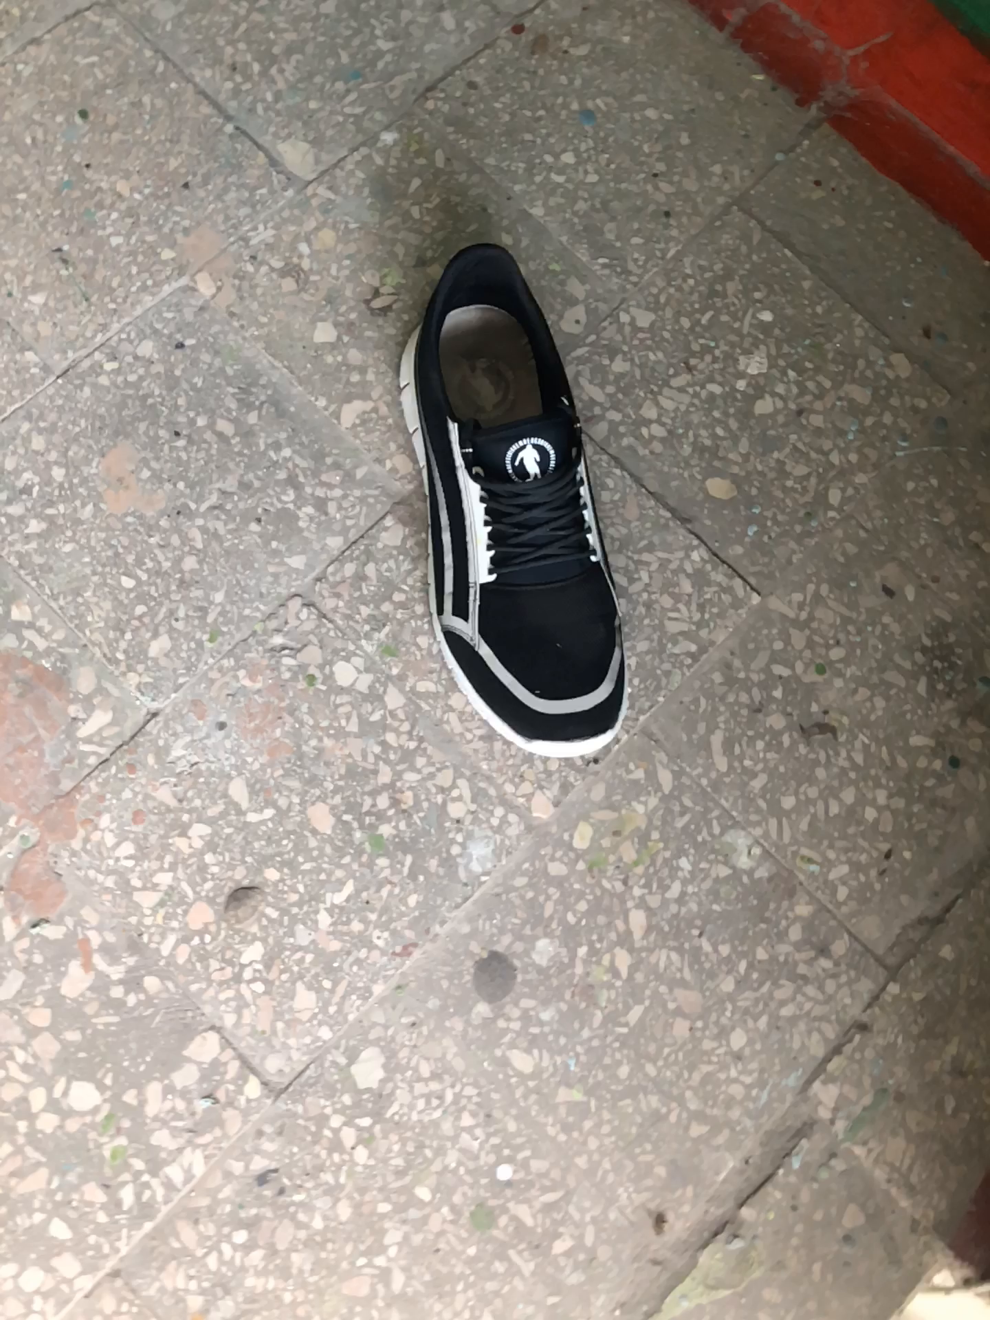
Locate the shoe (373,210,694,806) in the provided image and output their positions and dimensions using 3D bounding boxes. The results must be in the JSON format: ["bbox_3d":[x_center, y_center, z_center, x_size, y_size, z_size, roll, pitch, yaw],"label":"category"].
[{"bbox_3d":[0.010,-0.076,0.586,0.100,0.120,0.280,-10,77,-8],"label":"shoe"}]
